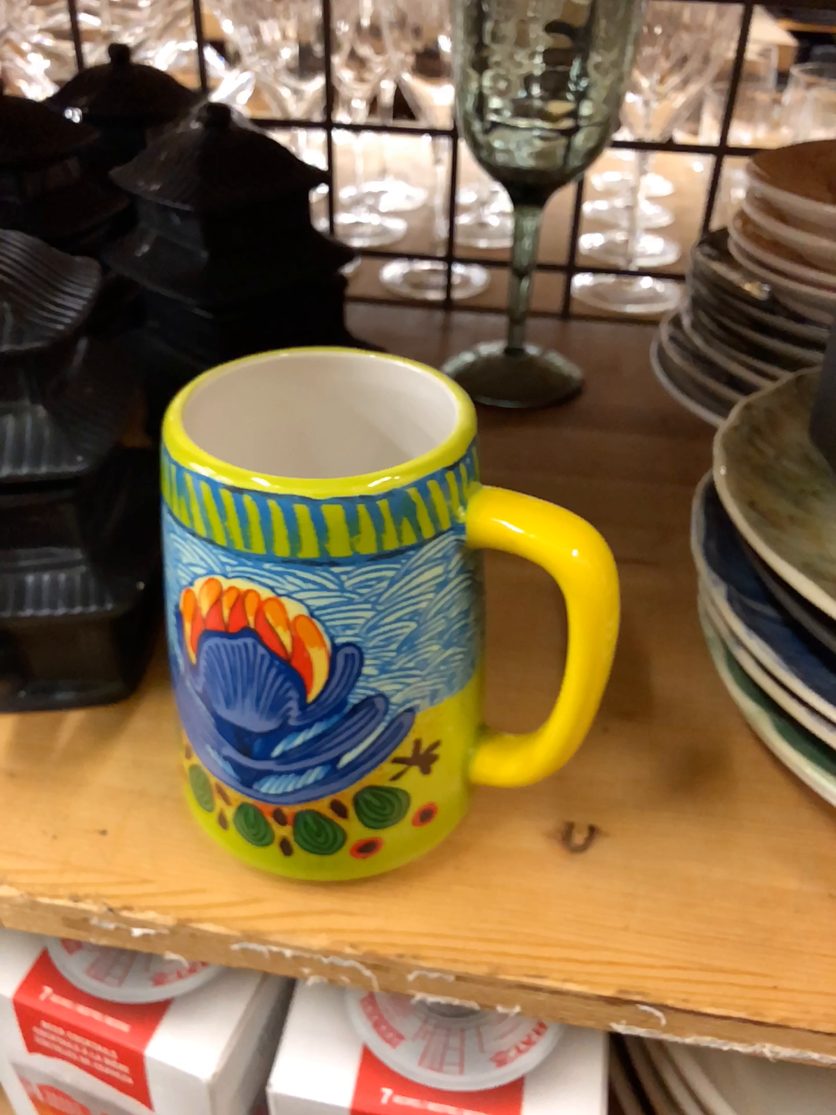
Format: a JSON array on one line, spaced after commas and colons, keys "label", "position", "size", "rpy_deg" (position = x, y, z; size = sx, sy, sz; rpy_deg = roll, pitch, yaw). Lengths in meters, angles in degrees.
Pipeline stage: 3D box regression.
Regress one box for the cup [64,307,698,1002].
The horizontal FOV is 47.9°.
[{"label": "cup", "position": [-0.006, 0.018, 0.245], "size": [0.114, 0.125, 0.086], "rpy_deg": [17, 38, 23]}]
